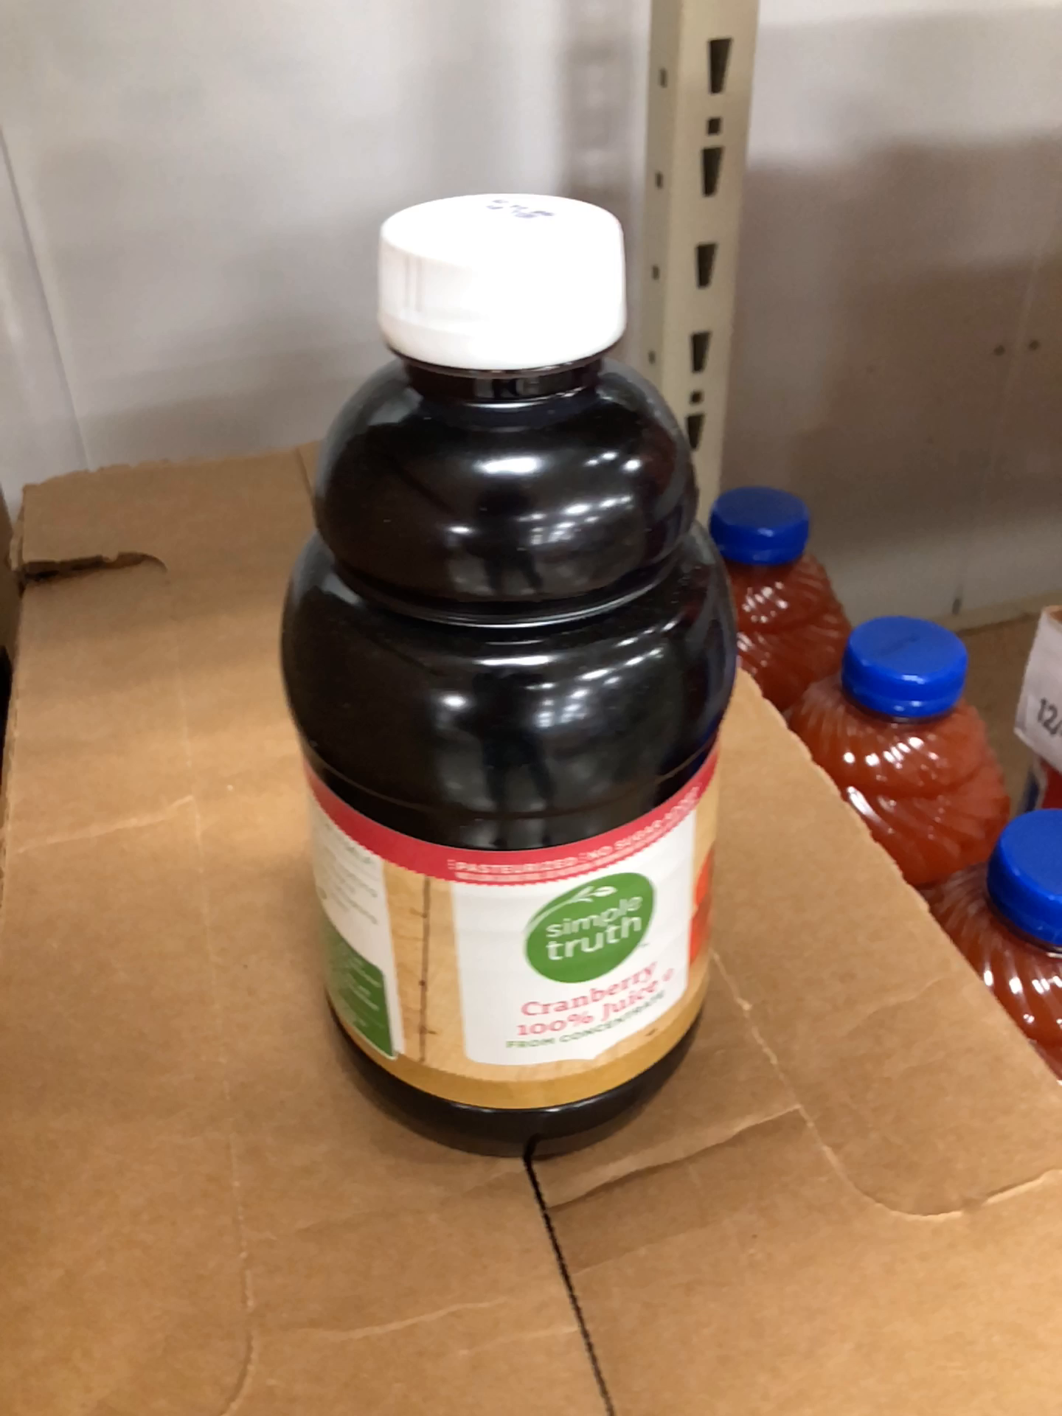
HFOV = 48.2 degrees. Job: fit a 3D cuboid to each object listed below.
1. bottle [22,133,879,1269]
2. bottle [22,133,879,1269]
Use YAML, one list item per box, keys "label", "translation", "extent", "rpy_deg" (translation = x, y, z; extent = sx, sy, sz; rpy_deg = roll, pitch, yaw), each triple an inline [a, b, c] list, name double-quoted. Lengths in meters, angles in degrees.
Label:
- label: "bottle"
  translation: [-0.005, 0.000, 0.257]
  extent: [0.100, 0.199, 0.110]
  rpy_deg: [17, 41, 22]
- label: "bottle"
  translation: [-0.005, 0.000, 0.257]
  extent: [0.100, 0.199, 0.110]
  rpy_deg: [17, 41, 22]
